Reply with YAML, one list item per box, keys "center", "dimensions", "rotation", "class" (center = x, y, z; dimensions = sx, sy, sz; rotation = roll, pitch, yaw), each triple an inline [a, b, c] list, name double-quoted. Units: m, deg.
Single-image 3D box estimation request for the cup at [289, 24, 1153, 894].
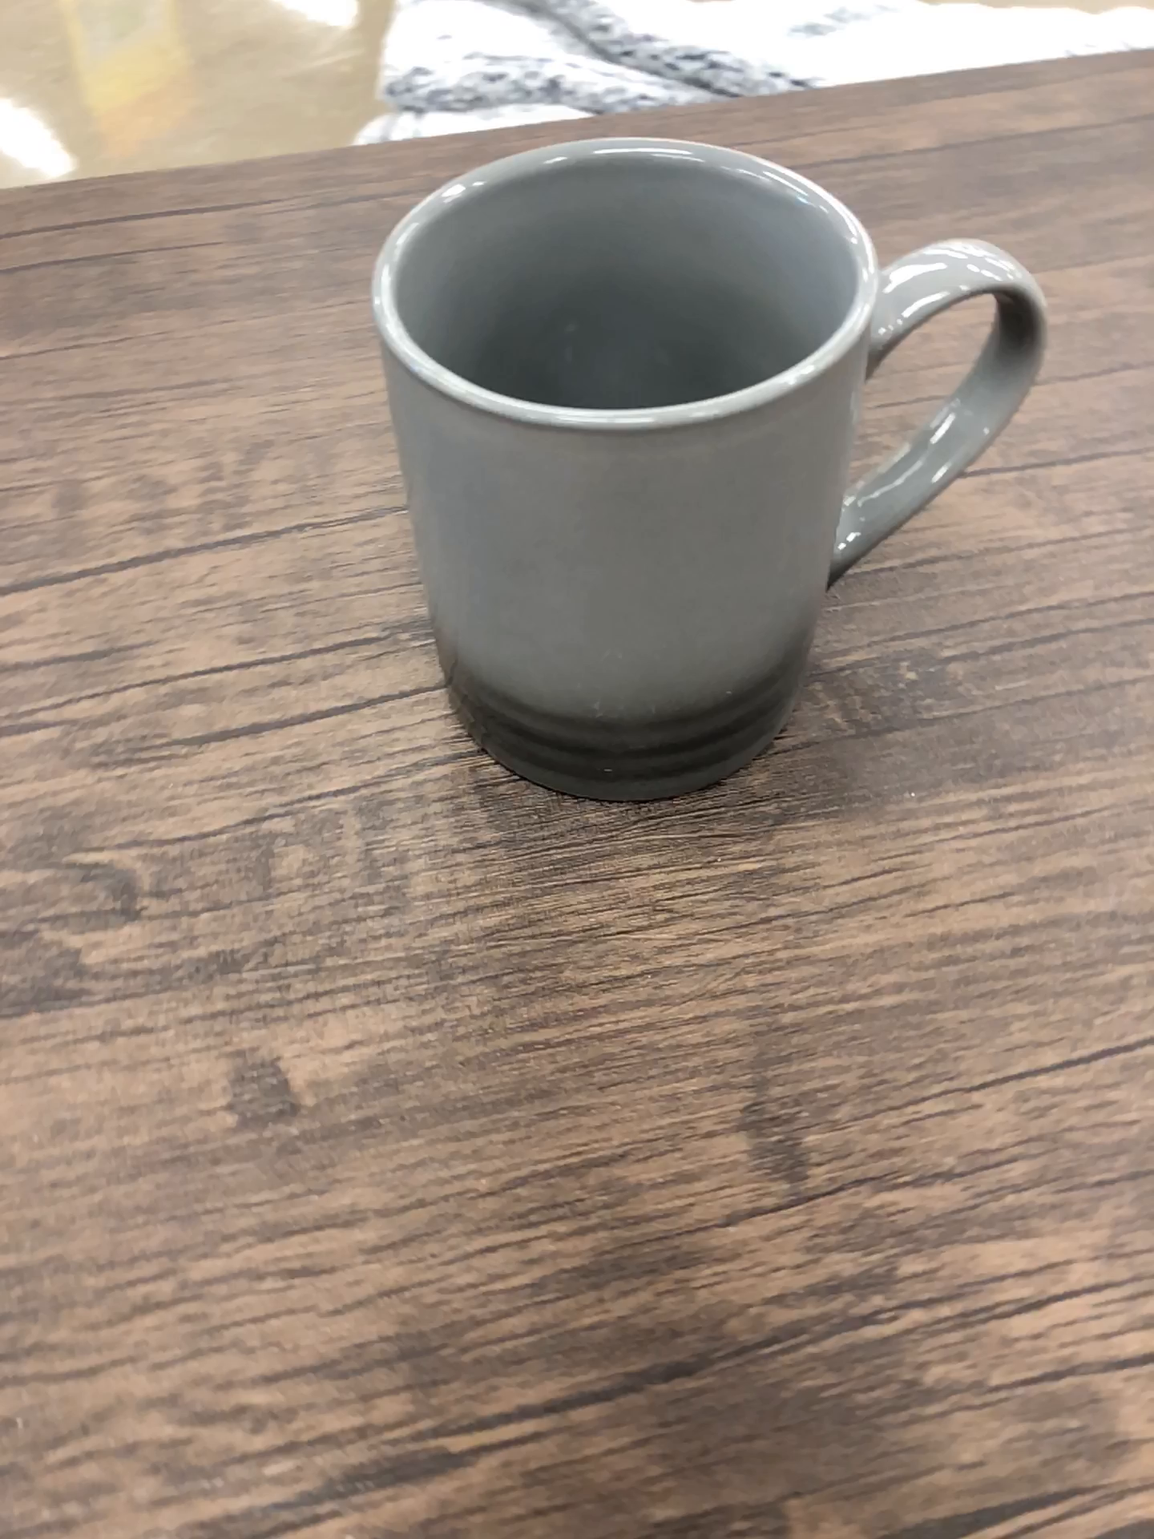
- center: [0.027, -0.062, 0.257]
  dimensions: [0.130, 0.110, 0.090]
  rotation: [-19, 53, -13]
  class: "cup"
